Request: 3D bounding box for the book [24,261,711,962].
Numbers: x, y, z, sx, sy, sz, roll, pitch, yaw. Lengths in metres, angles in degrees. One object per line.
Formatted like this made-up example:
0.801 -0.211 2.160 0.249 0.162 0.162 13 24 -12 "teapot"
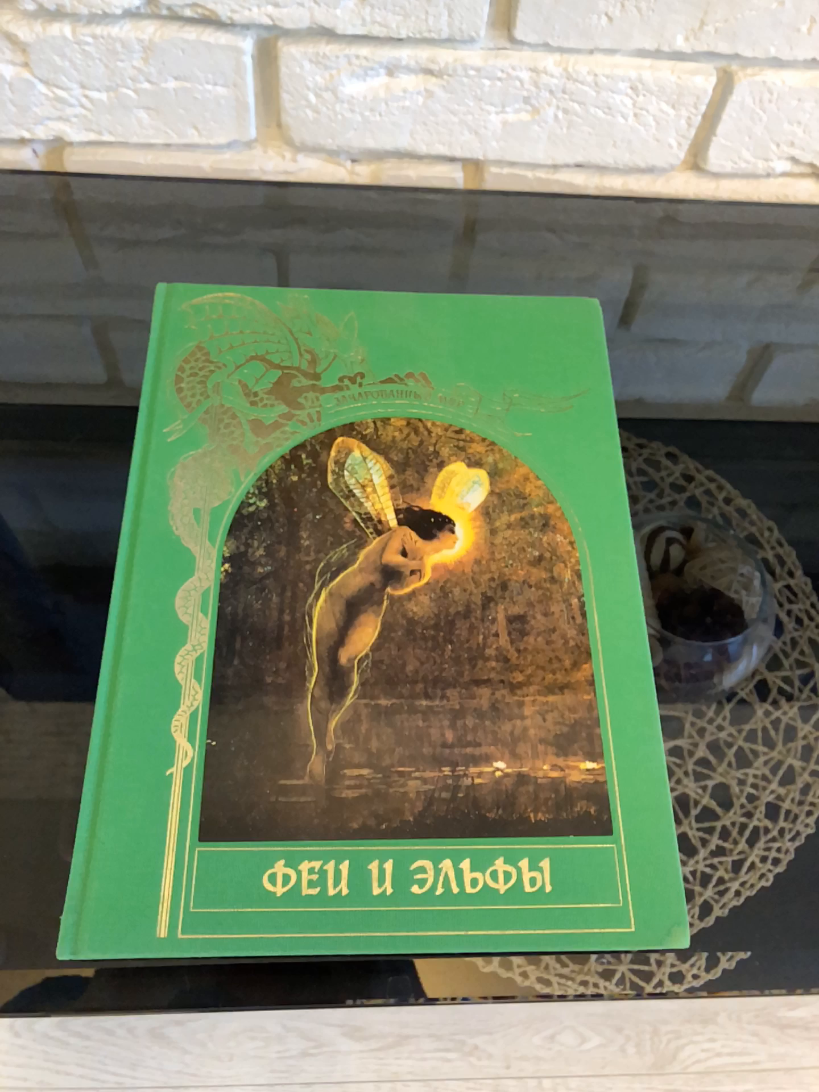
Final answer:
-0.013 0.007 0.367 0.217 0.030 0.291 2 62 -4 "book"
